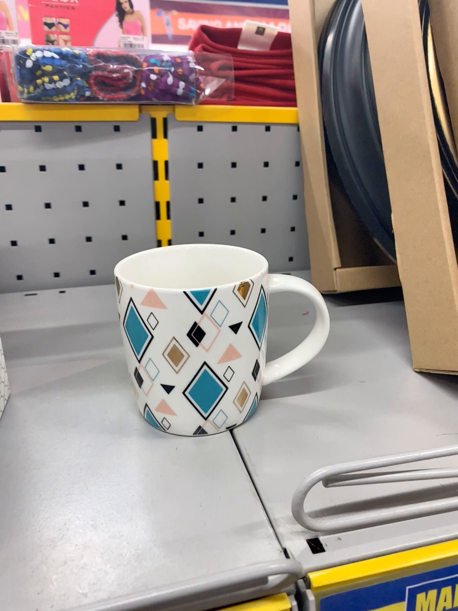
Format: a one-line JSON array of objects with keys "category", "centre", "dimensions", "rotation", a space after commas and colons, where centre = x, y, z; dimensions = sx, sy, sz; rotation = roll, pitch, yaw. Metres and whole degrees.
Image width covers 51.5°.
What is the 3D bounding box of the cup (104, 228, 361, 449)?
[{"category": "cup", "centre": [-0.004, 0.011, 0.282], "dimensions": [0.120, 0.090, 0.100], "rotation": [-2, 22, -8]}]
